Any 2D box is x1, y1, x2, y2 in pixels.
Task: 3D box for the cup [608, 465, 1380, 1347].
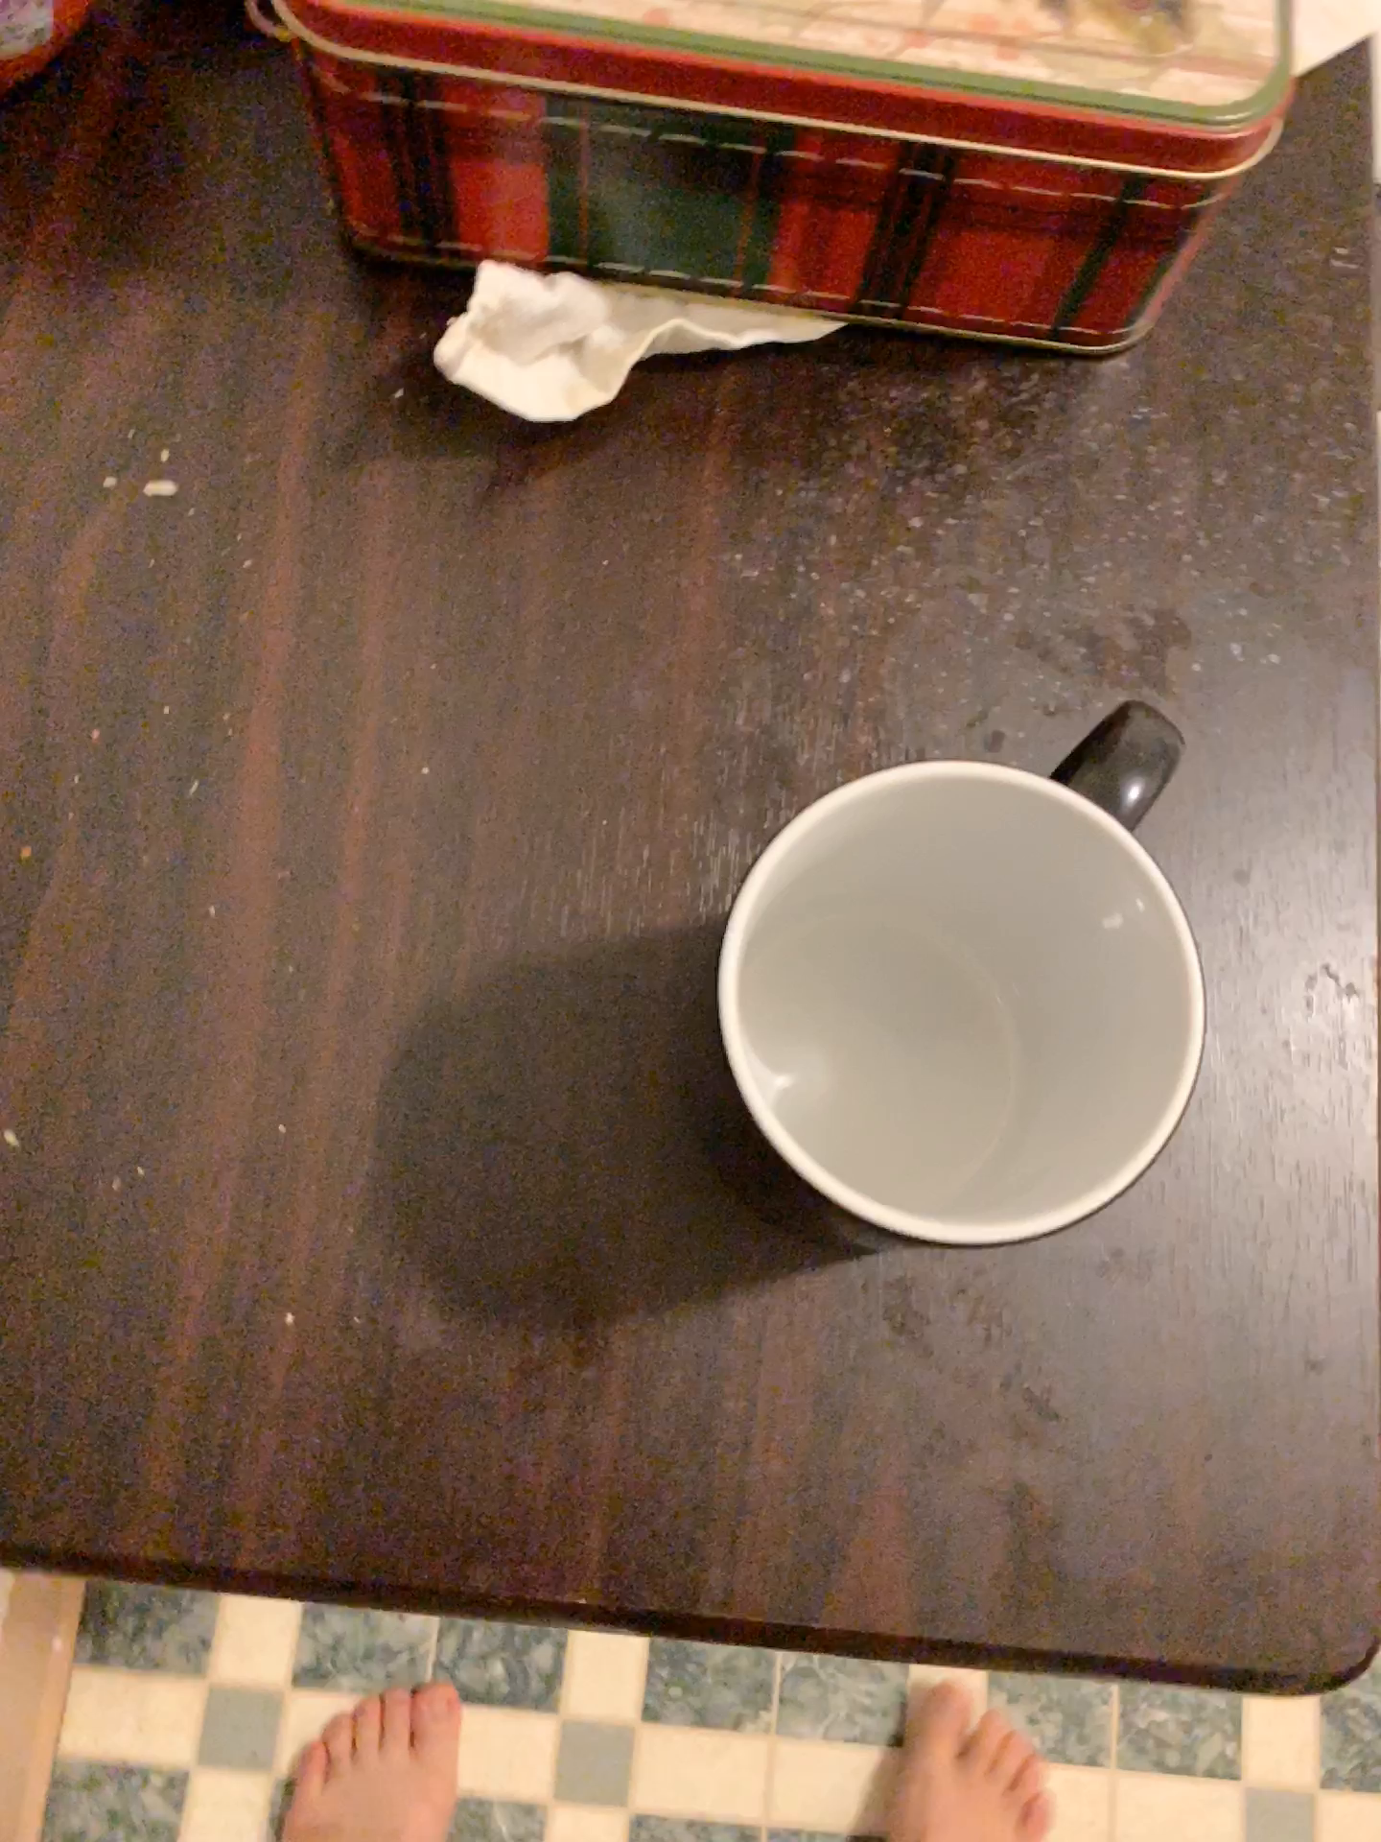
[{"bbox_3d":[0.056,0.003,0.285,0.080,0.100,0.130,38,77,5],"label":"cup"}]
